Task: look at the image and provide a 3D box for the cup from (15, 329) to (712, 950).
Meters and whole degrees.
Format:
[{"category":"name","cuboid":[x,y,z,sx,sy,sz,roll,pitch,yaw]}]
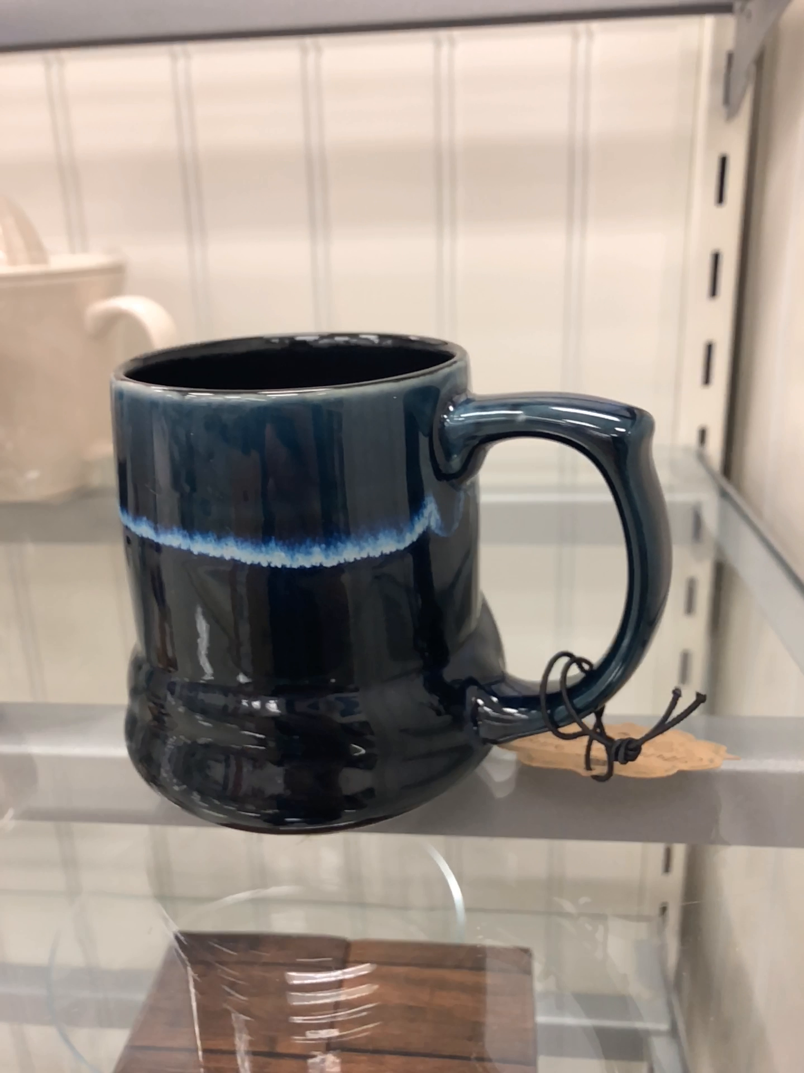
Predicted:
[{"category":"cup","cuboid":[0.000,0.010,0.237,0.140,0.109,0.101,6,21,21]}]
